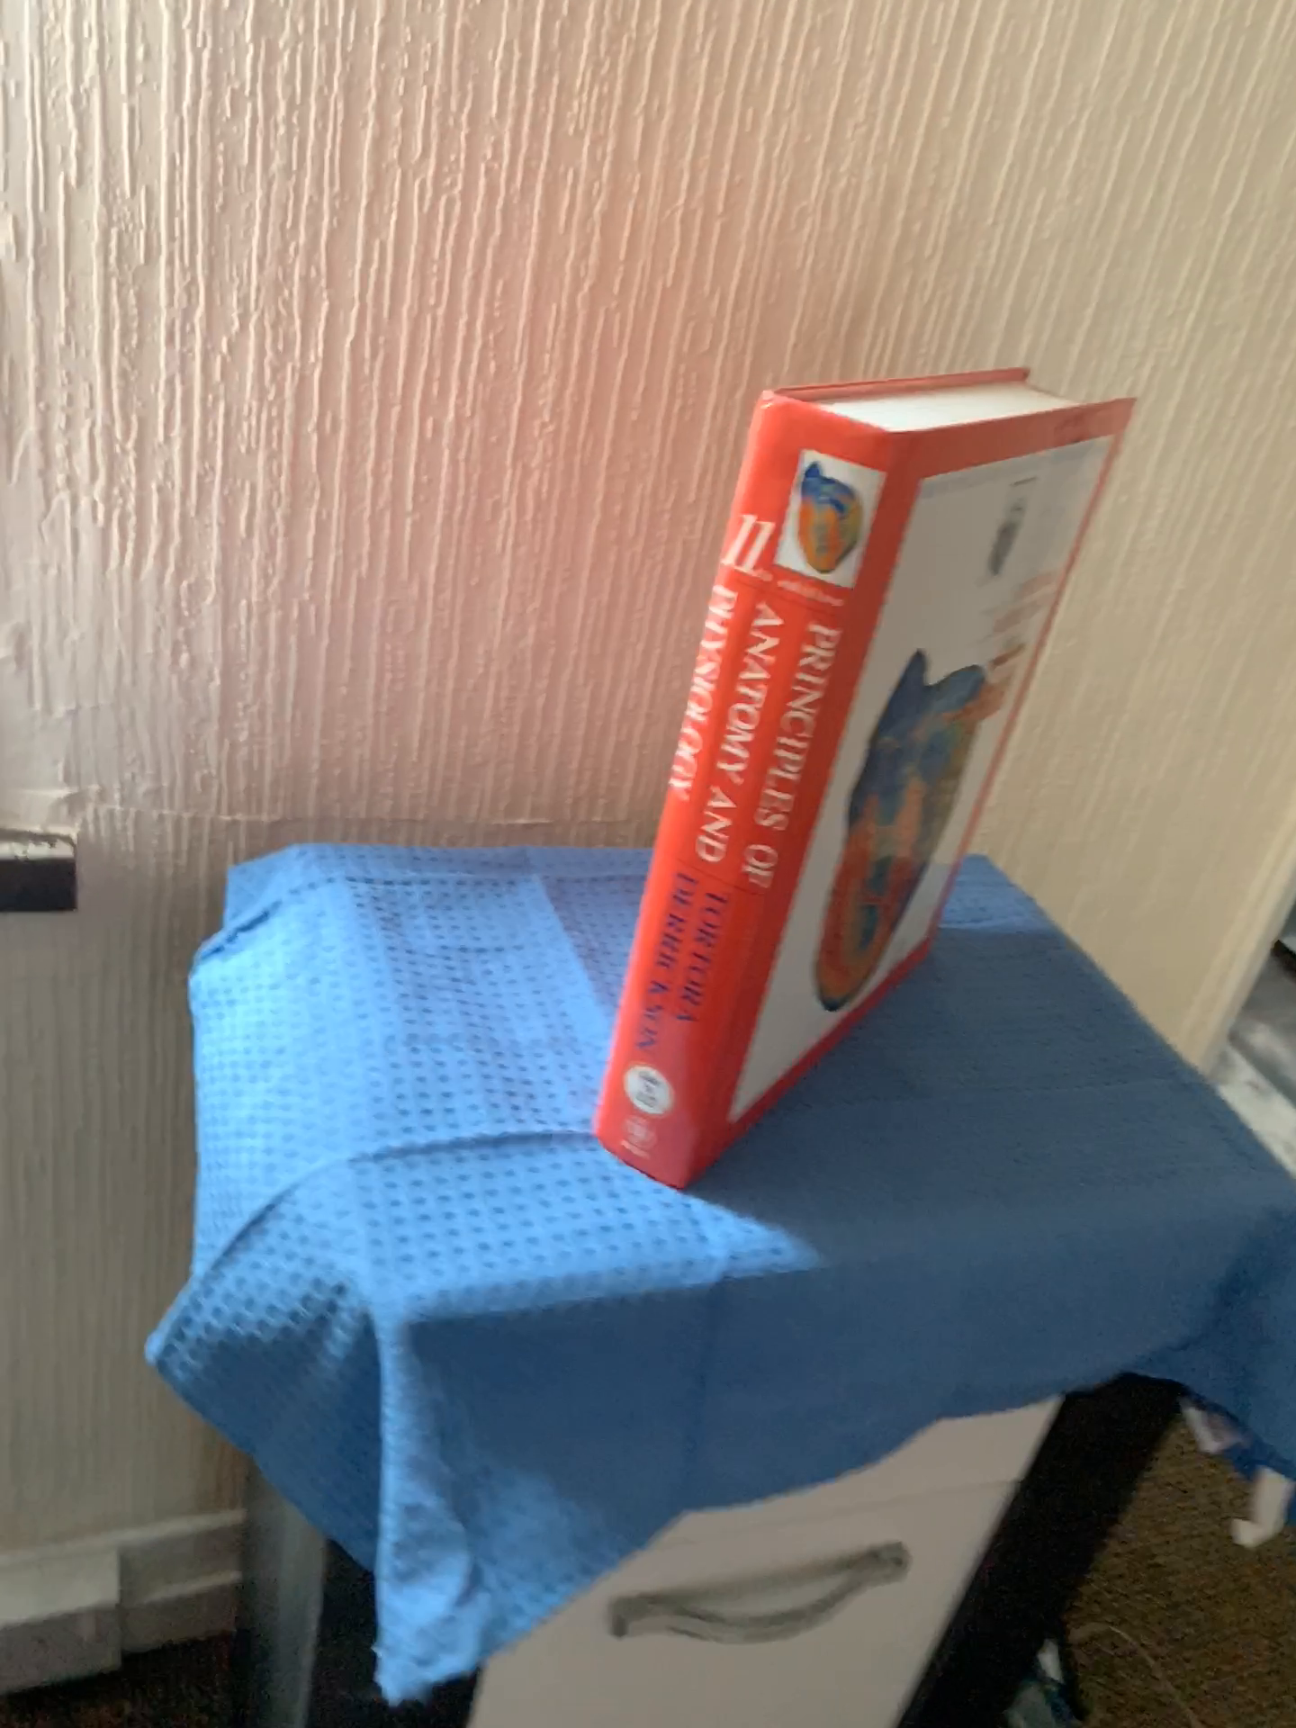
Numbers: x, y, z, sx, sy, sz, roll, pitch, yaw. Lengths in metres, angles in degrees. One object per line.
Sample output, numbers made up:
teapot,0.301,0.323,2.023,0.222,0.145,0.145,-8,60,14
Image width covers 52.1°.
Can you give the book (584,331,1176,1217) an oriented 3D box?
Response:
book,0.097,-0.052,0.523,0.060,0.287,0.262,25,31,25
